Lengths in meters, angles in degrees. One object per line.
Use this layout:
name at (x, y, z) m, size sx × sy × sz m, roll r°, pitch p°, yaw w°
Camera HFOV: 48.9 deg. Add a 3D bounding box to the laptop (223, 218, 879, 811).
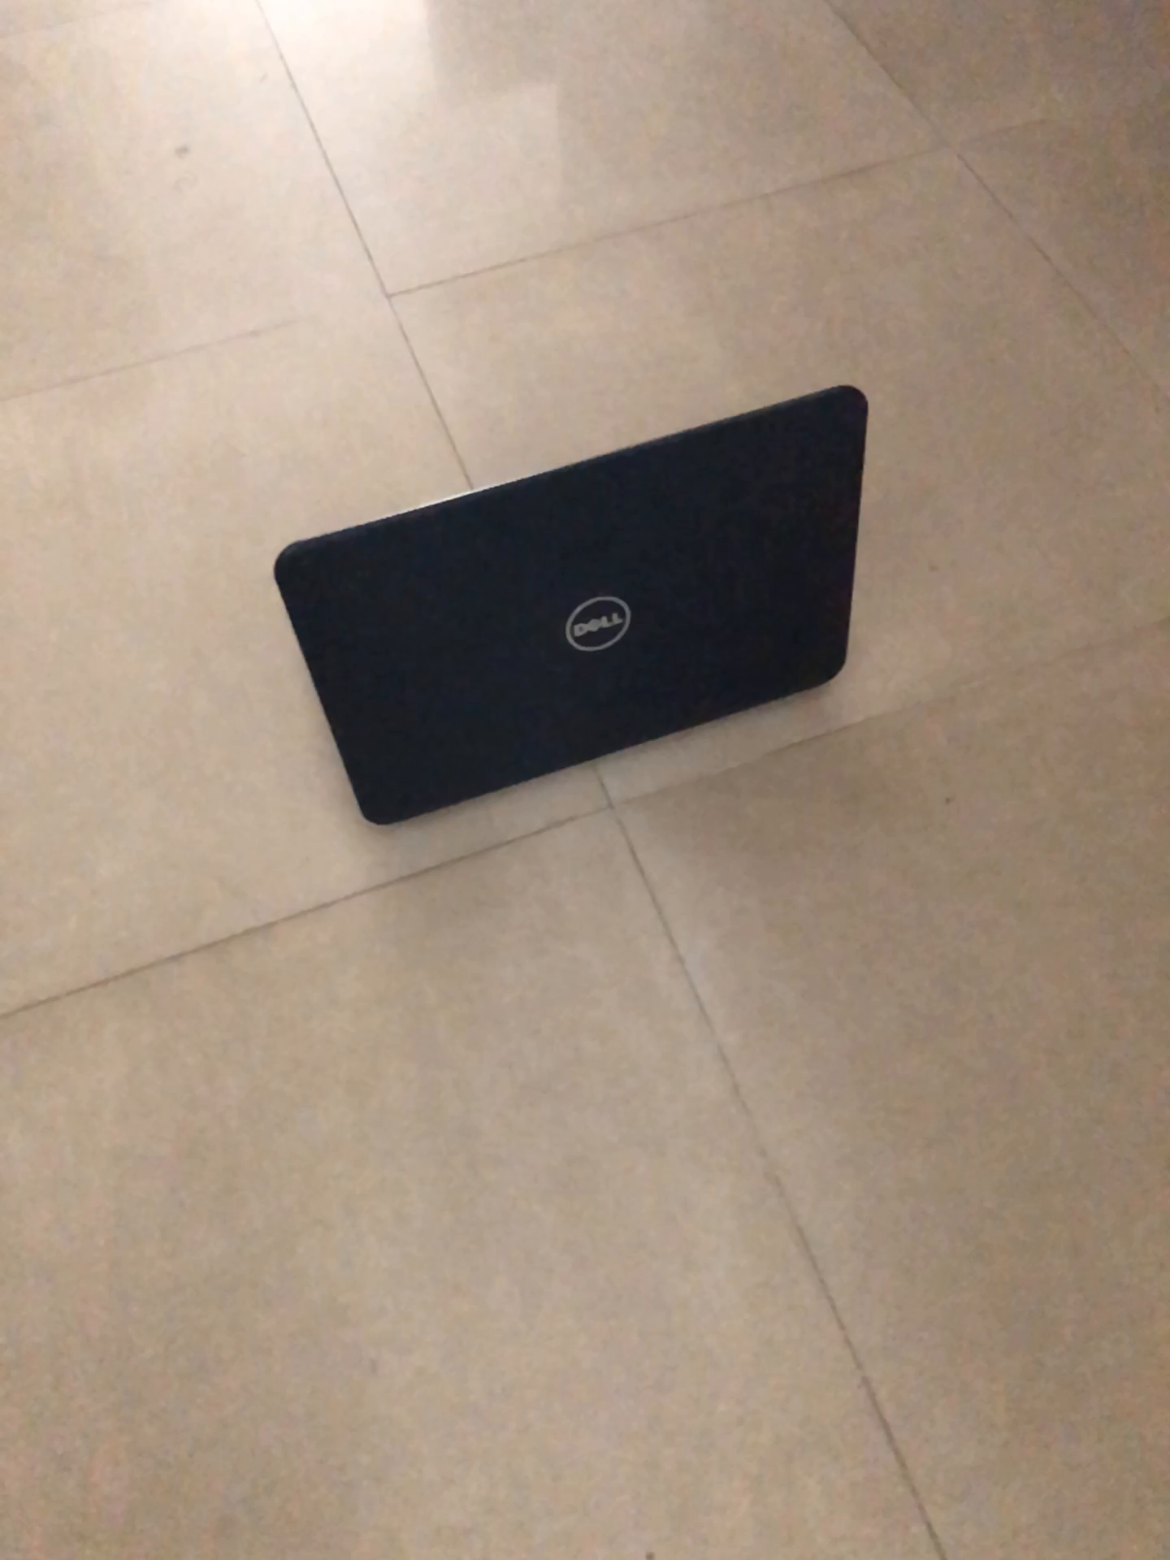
laptop at (-0.028, -0.185, 0.902) m, size 0.351 × 0.227 × 0.248 m, roll -18°, pitch 58°, yaw -8°
